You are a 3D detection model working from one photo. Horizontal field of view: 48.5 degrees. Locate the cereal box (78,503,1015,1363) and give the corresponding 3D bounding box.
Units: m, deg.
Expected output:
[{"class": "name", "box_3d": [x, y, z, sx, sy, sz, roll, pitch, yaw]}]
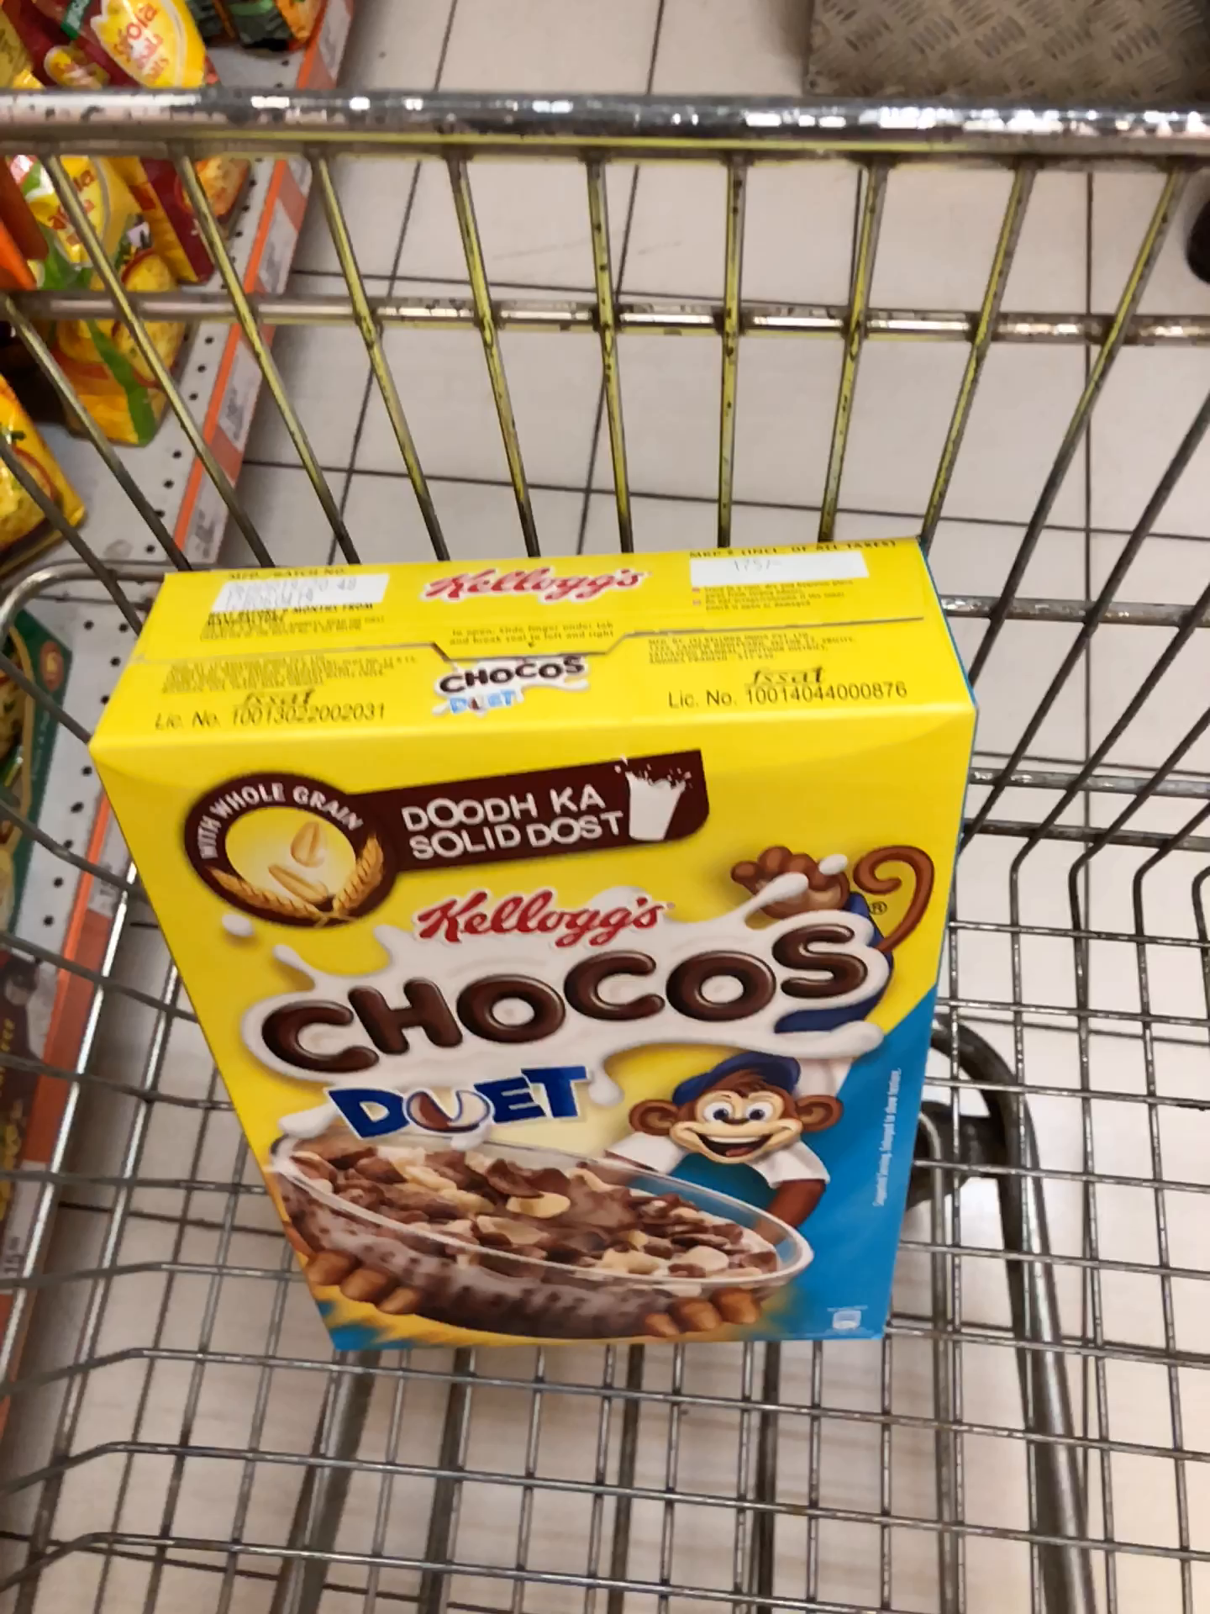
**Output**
[{"class": "cereal box", "box_3d": [-0.005, 0.055, 0.369, 0.180, 0.259, 0.070, -2, 41, 2]}]
